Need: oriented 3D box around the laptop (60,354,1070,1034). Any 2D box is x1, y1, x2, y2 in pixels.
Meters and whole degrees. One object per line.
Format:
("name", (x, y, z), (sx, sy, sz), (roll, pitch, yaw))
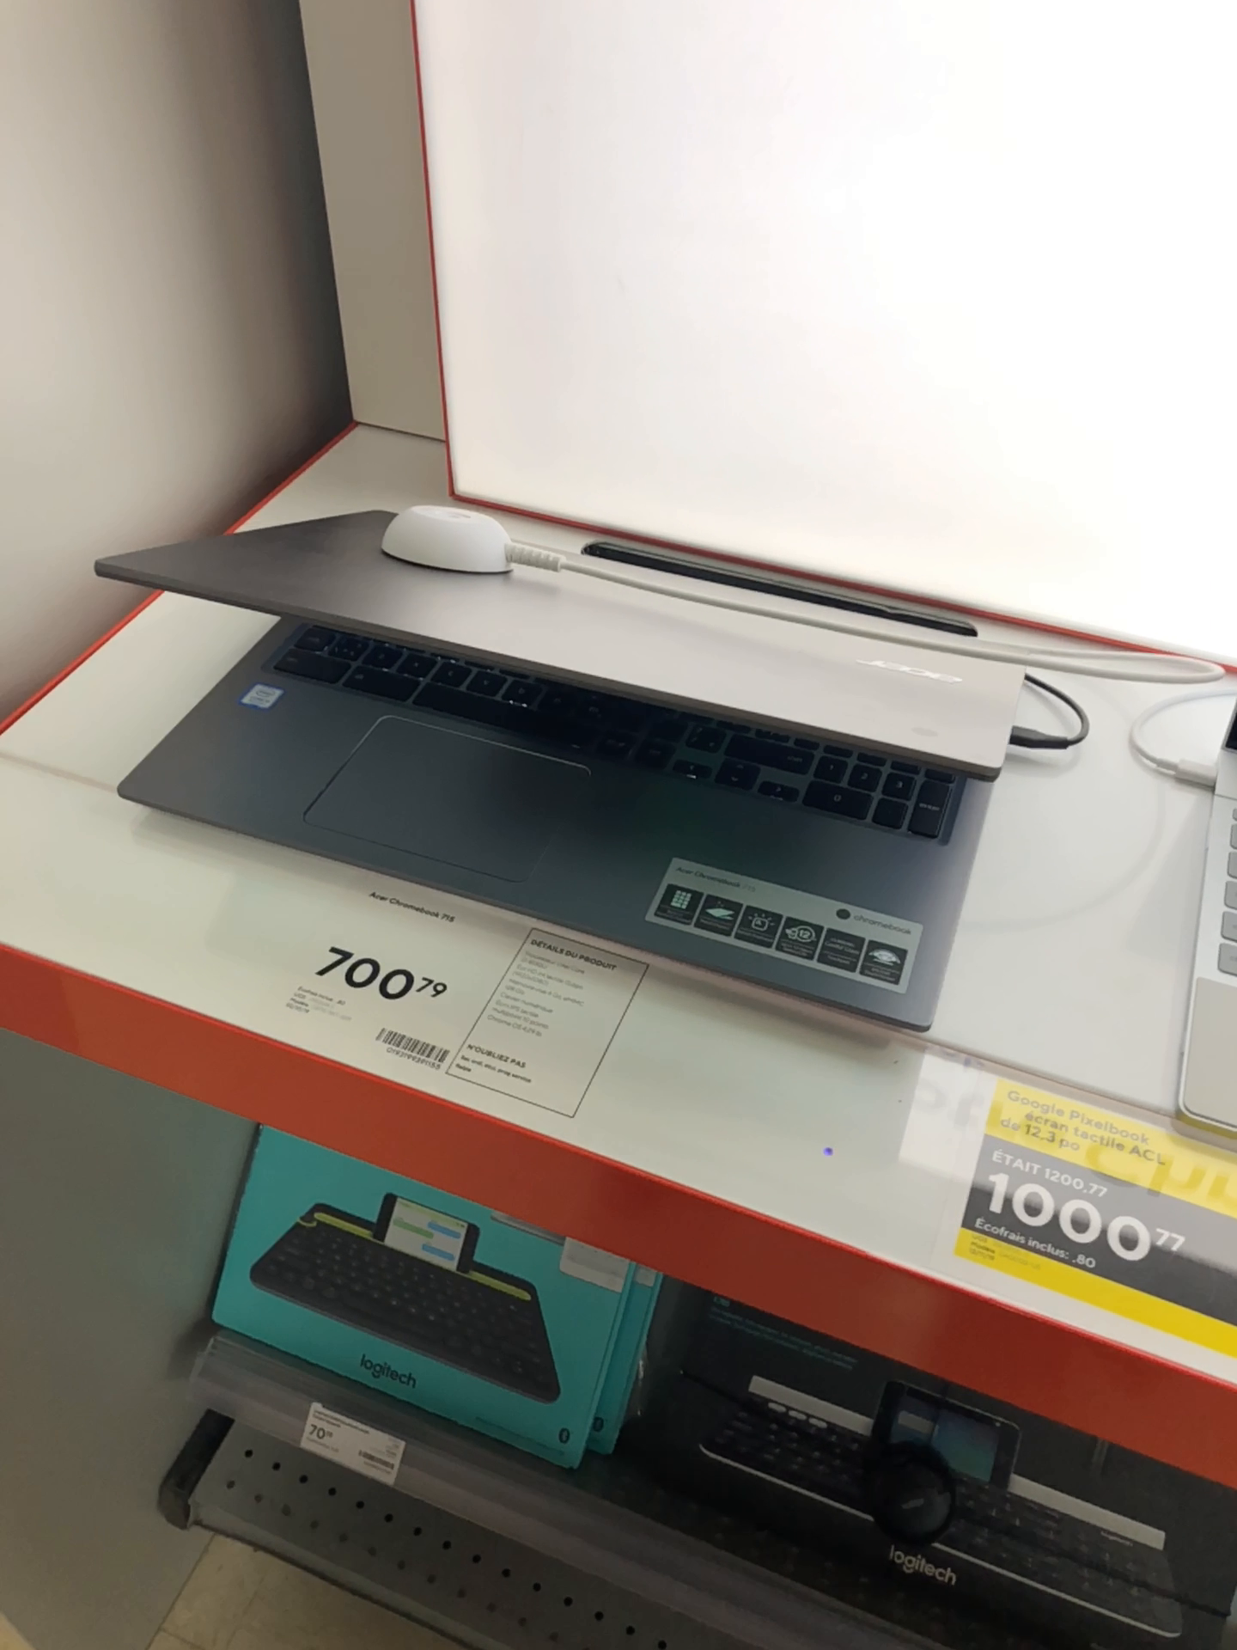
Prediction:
("laptop", (-0.009, -0.080, 0.597), (0.356, 0.105, 0.237), (15, 44, 14))
